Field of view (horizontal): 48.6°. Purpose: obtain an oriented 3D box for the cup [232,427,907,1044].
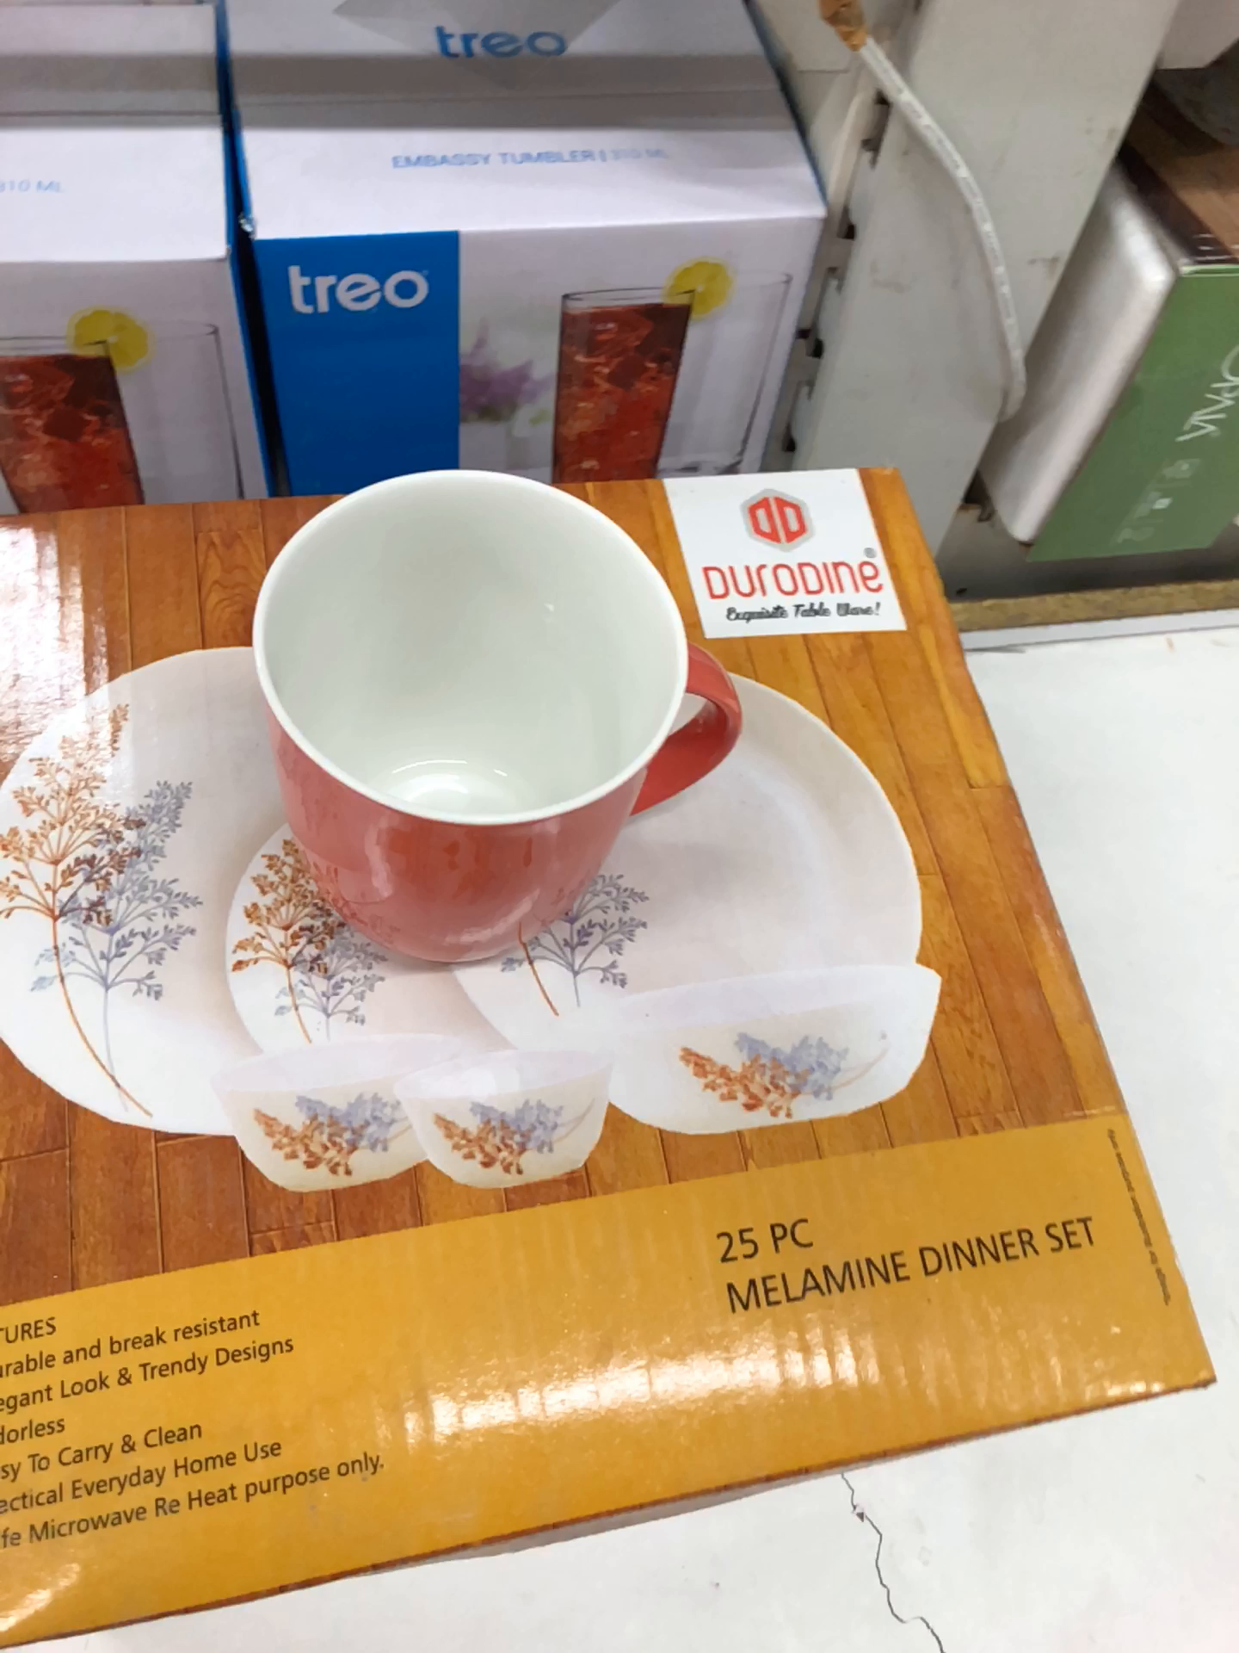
[{"bbox_3d":[-0.018,-0.018,0.309,0.120,0.100,0.090,-5,61,-9],"label":"cup"}]
